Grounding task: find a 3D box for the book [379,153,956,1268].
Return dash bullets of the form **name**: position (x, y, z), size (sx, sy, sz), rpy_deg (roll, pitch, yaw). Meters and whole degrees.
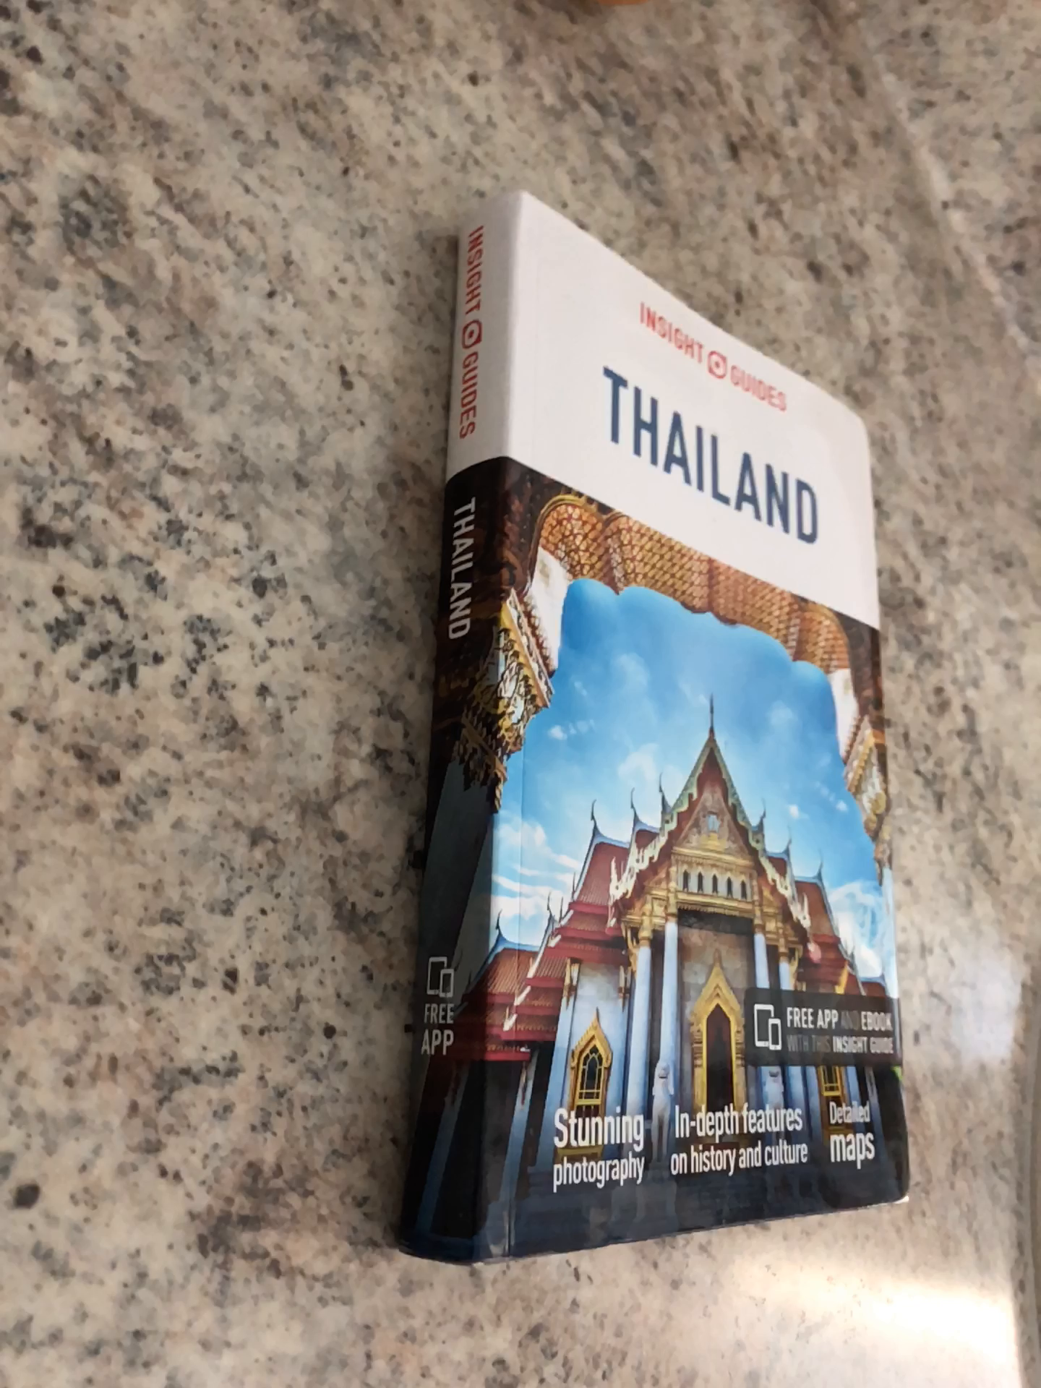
- **book**: position (0.045, 0.007, 0.301), size (0.165, 0.030, 0.240), rpy_deg (18, 65, -40)
